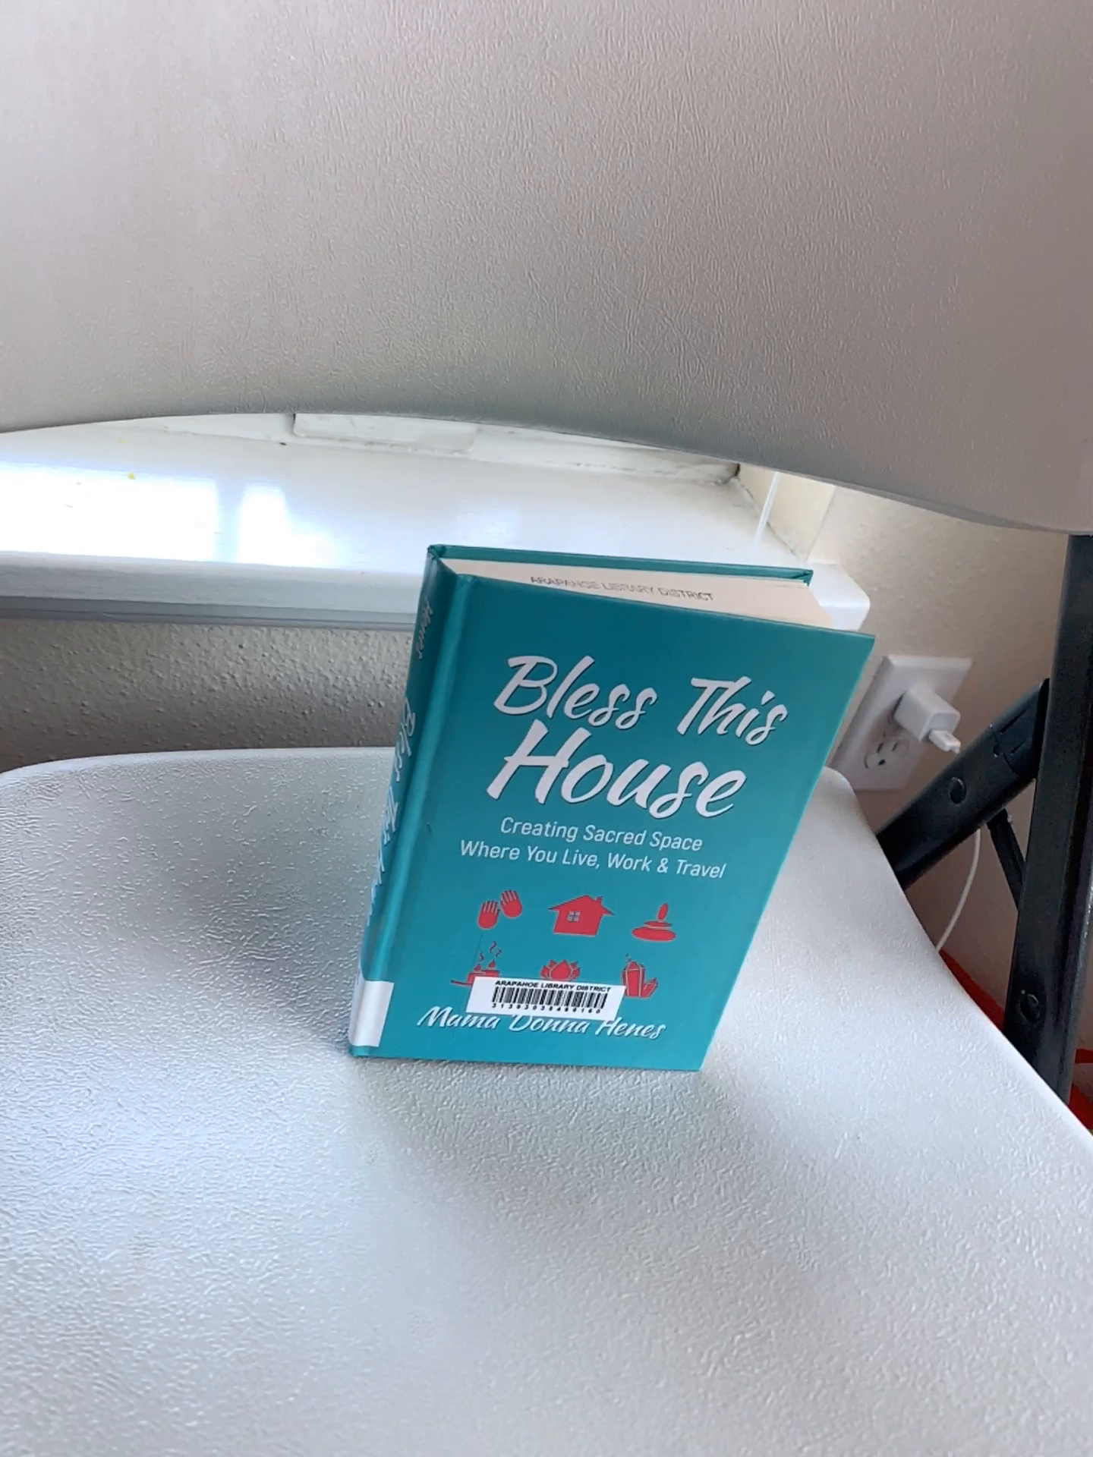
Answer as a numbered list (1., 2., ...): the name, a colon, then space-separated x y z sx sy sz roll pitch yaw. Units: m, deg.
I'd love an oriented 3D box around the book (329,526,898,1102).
1. book: 0.012 0.034 0.370 0.142 0.181 0.051 2 30 -20
